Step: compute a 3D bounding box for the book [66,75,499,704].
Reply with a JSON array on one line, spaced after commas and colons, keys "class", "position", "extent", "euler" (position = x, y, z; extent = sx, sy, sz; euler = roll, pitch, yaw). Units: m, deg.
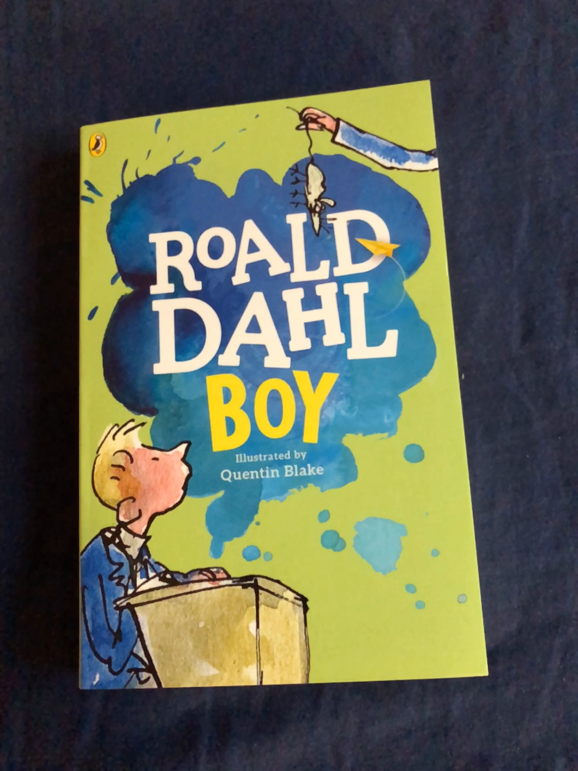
[{"class": "book", "position": [-0.007, -0.001, 0.213], "extent": [0.125, 0.027, 0.189], "euler": [-4, 82, 5]}]
